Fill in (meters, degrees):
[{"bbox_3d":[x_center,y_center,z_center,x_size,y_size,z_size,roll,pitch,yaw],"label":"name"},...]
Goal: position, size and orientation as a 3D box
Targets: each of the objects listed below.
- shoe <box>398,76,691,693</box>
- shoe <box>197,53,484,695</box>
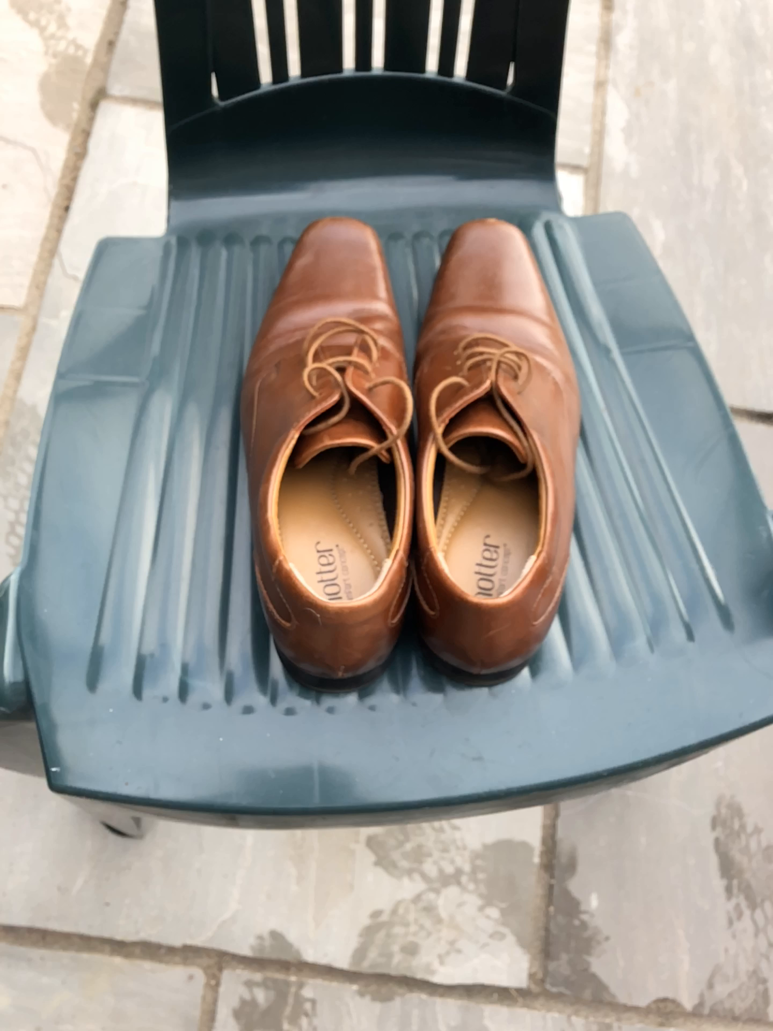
[{"bbox_3d":[0.073,-0.061,0.435,0.110,0.110,0.281,4,73,-2],"label":"shoe"},{"bbox_3d":[-0.018,-0.065,0.425,0.110,0.110,0.291,2,73,-3],"label":"shoe"}]
